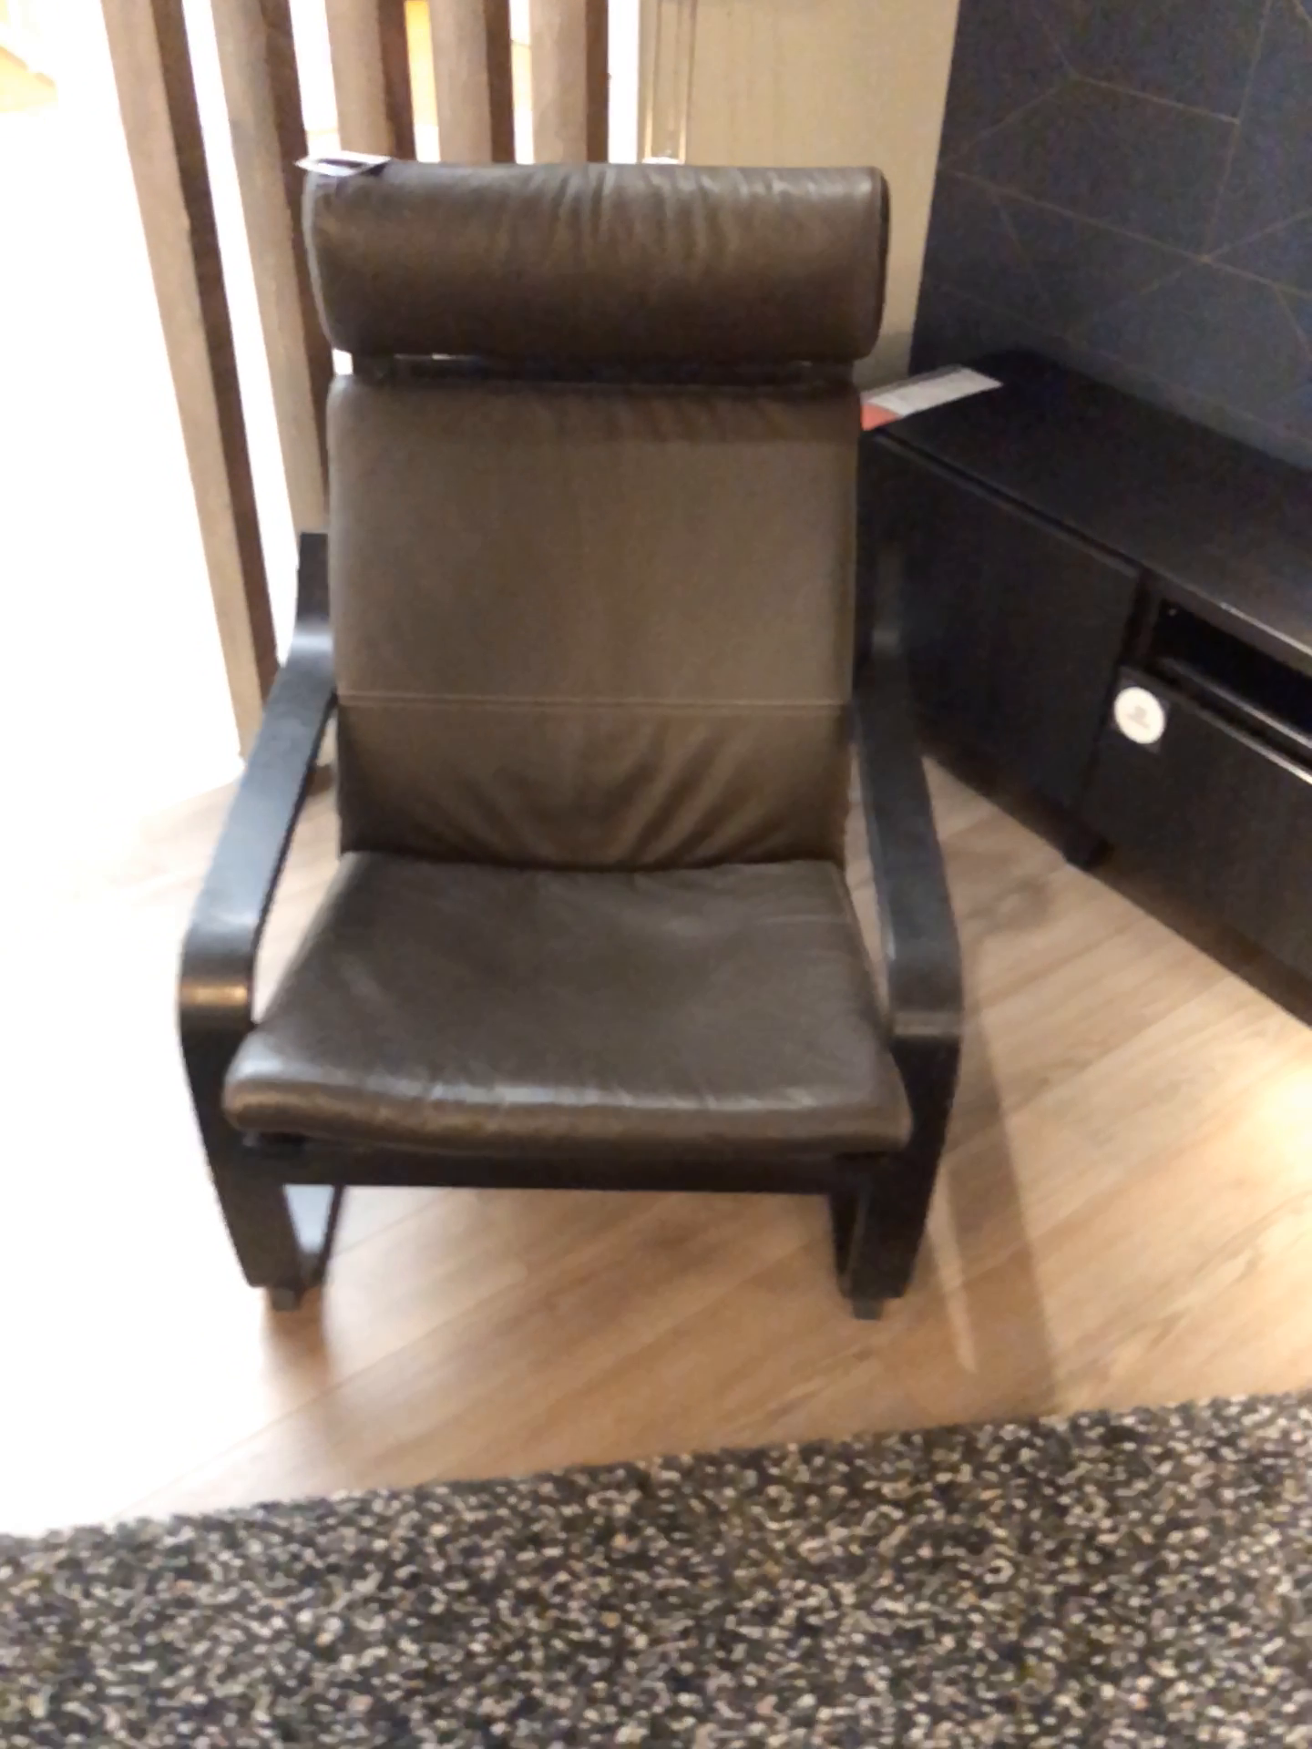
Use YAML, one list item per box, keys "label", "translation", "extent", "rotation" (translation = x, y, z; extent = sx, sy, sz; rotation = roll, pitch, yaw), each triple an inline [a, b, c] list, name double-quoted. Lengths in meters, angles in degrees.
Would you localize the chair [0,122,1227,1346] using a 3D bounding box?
- label: "chair"
  translation: [-0.083, -0.126, 1.373]
  extent: [0.780, 0.876, 0.733]
  rotation: [1, 40, -1]
